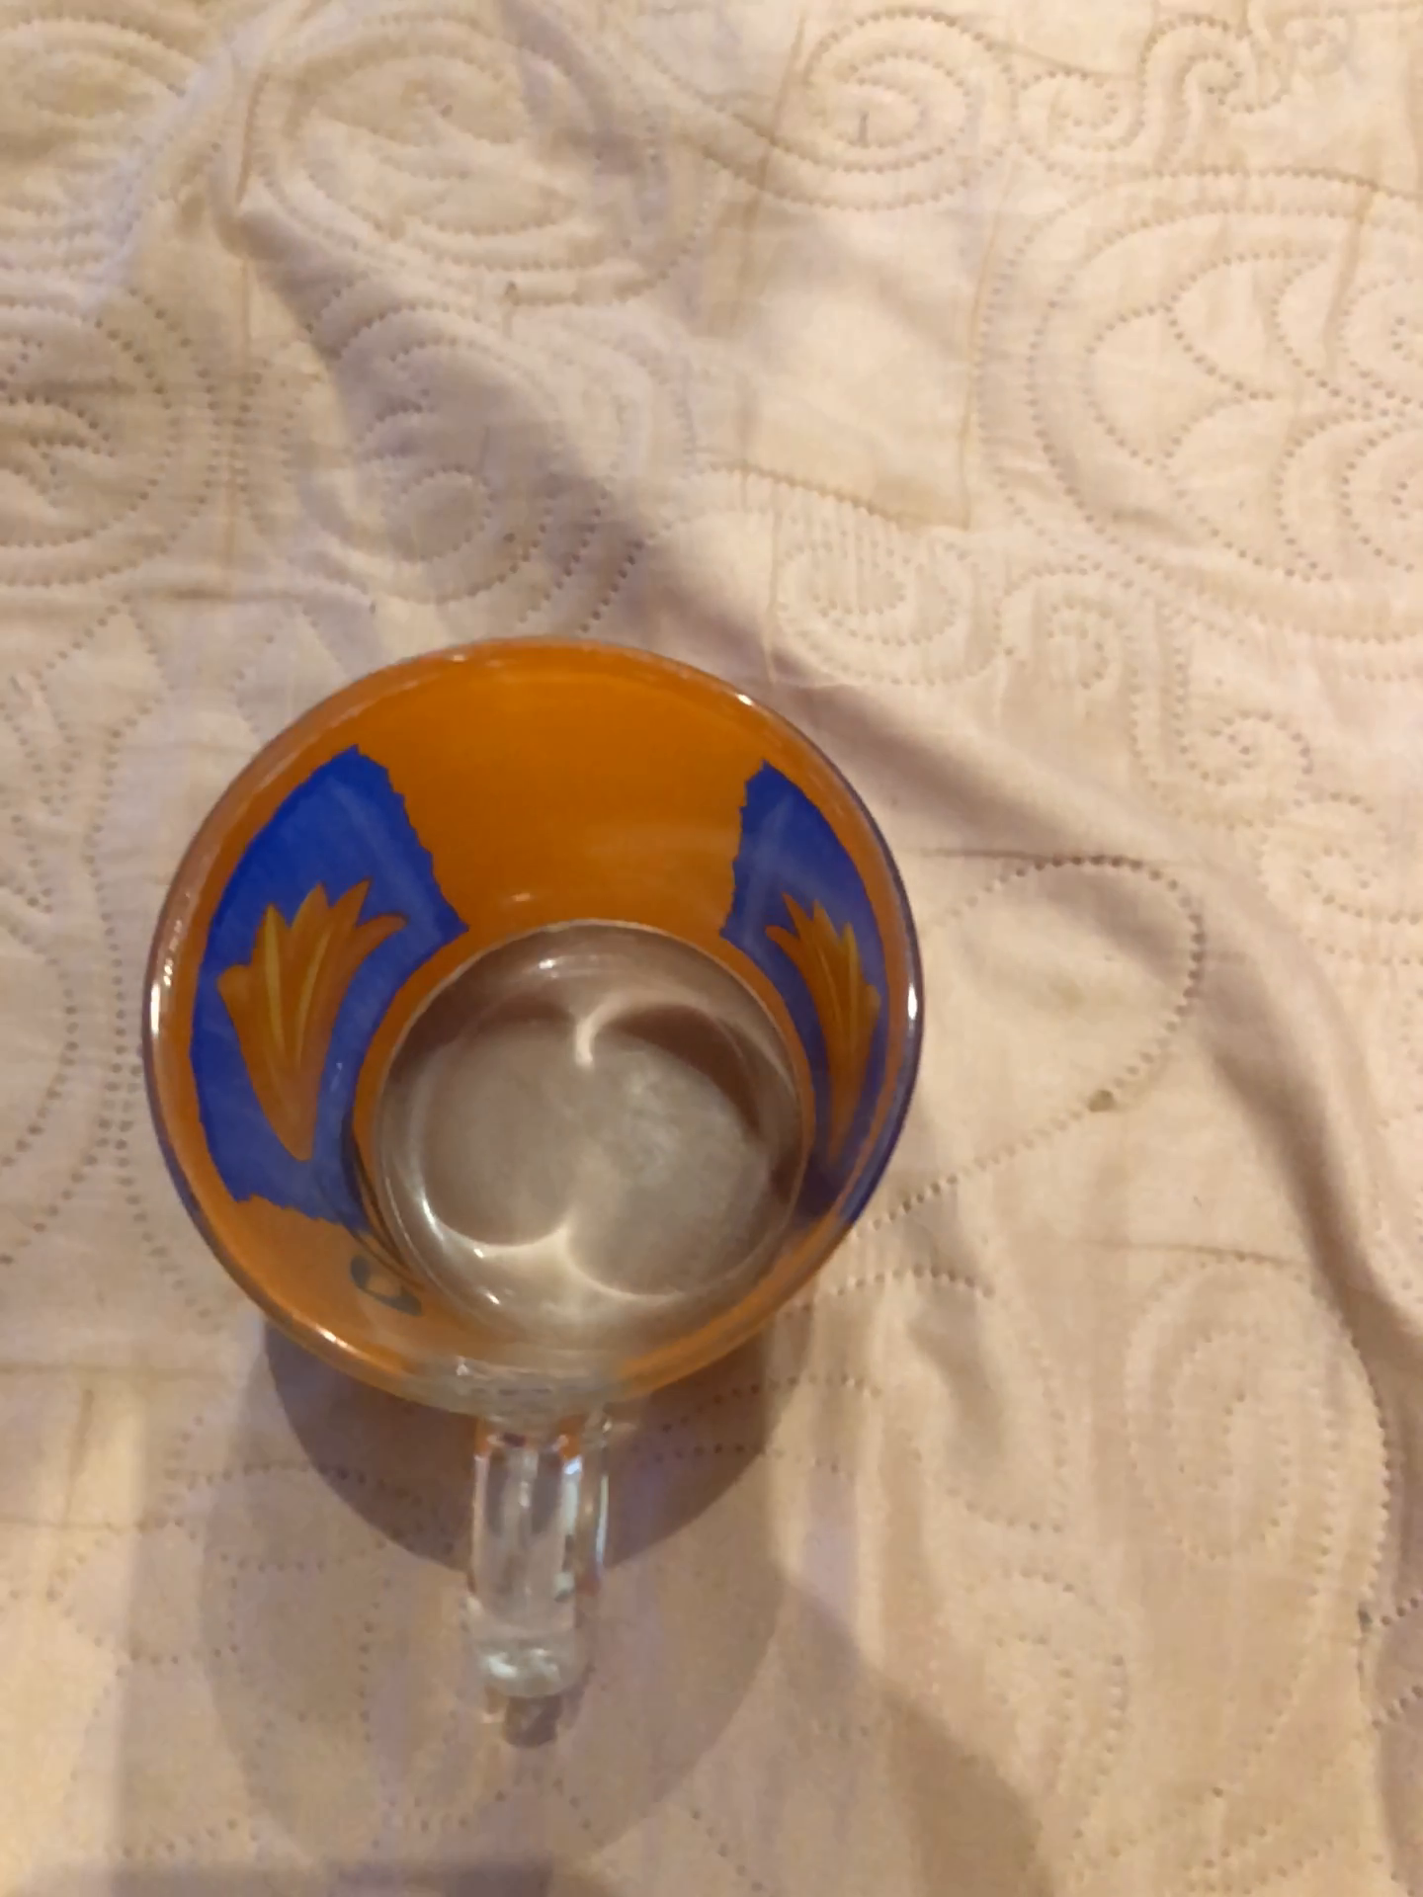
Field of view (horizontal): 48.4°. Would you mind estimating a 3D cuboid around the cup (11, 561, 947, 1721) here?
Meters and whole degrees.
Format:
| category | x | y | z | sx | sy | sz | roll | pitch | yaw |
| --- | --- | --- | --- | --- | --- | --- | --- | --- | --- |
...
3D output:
| category | x | y | z | sx | sy | sz | roll | pitch | yaw |
| --- | --- | --- | --- | --- | --- | --- | --- | --- | --- |
| cup | -0.017 | 0.026 | 0.197 | 0.080 | 0.090 | 0.110 | 3 | 72 | 2 |
